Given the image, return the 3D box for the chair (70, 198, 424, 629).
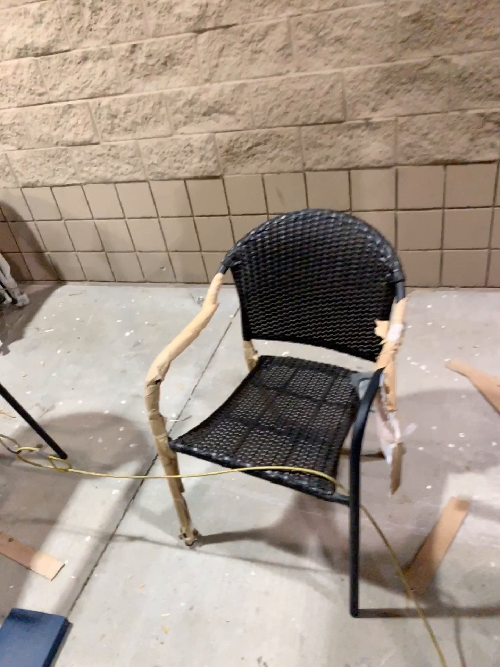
[{"bbox_3d":[0.086,0.168,1.352,0.576,0.839,0.599,9,39,27],"label":"chair"}]
